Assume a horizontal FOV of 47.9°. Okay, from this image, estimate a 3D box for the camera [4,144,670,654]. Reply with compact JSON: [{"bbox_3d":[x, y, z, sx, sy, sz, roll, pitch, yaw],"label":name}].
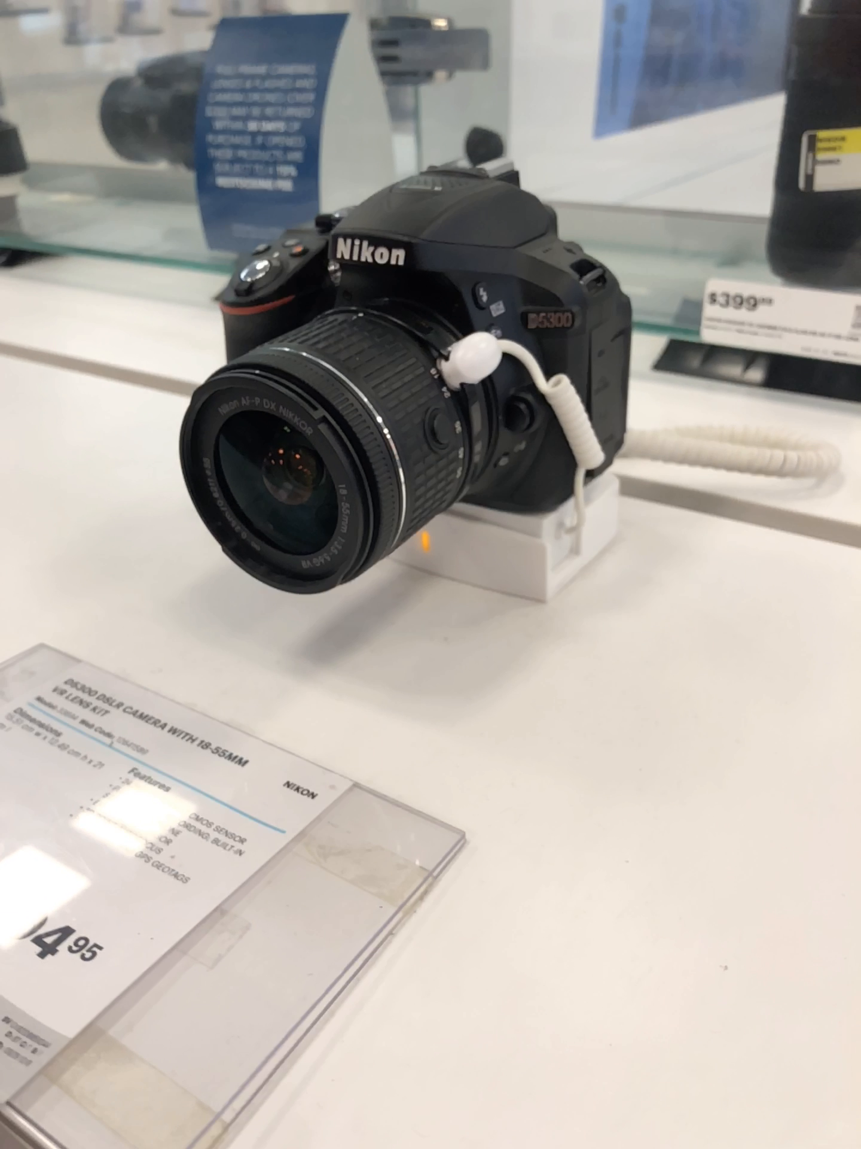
[{"bbox_3d":[-0.018,-0.069,0.298,0.130,0.100,0.140,16,33,29],"label":"camera"}]
